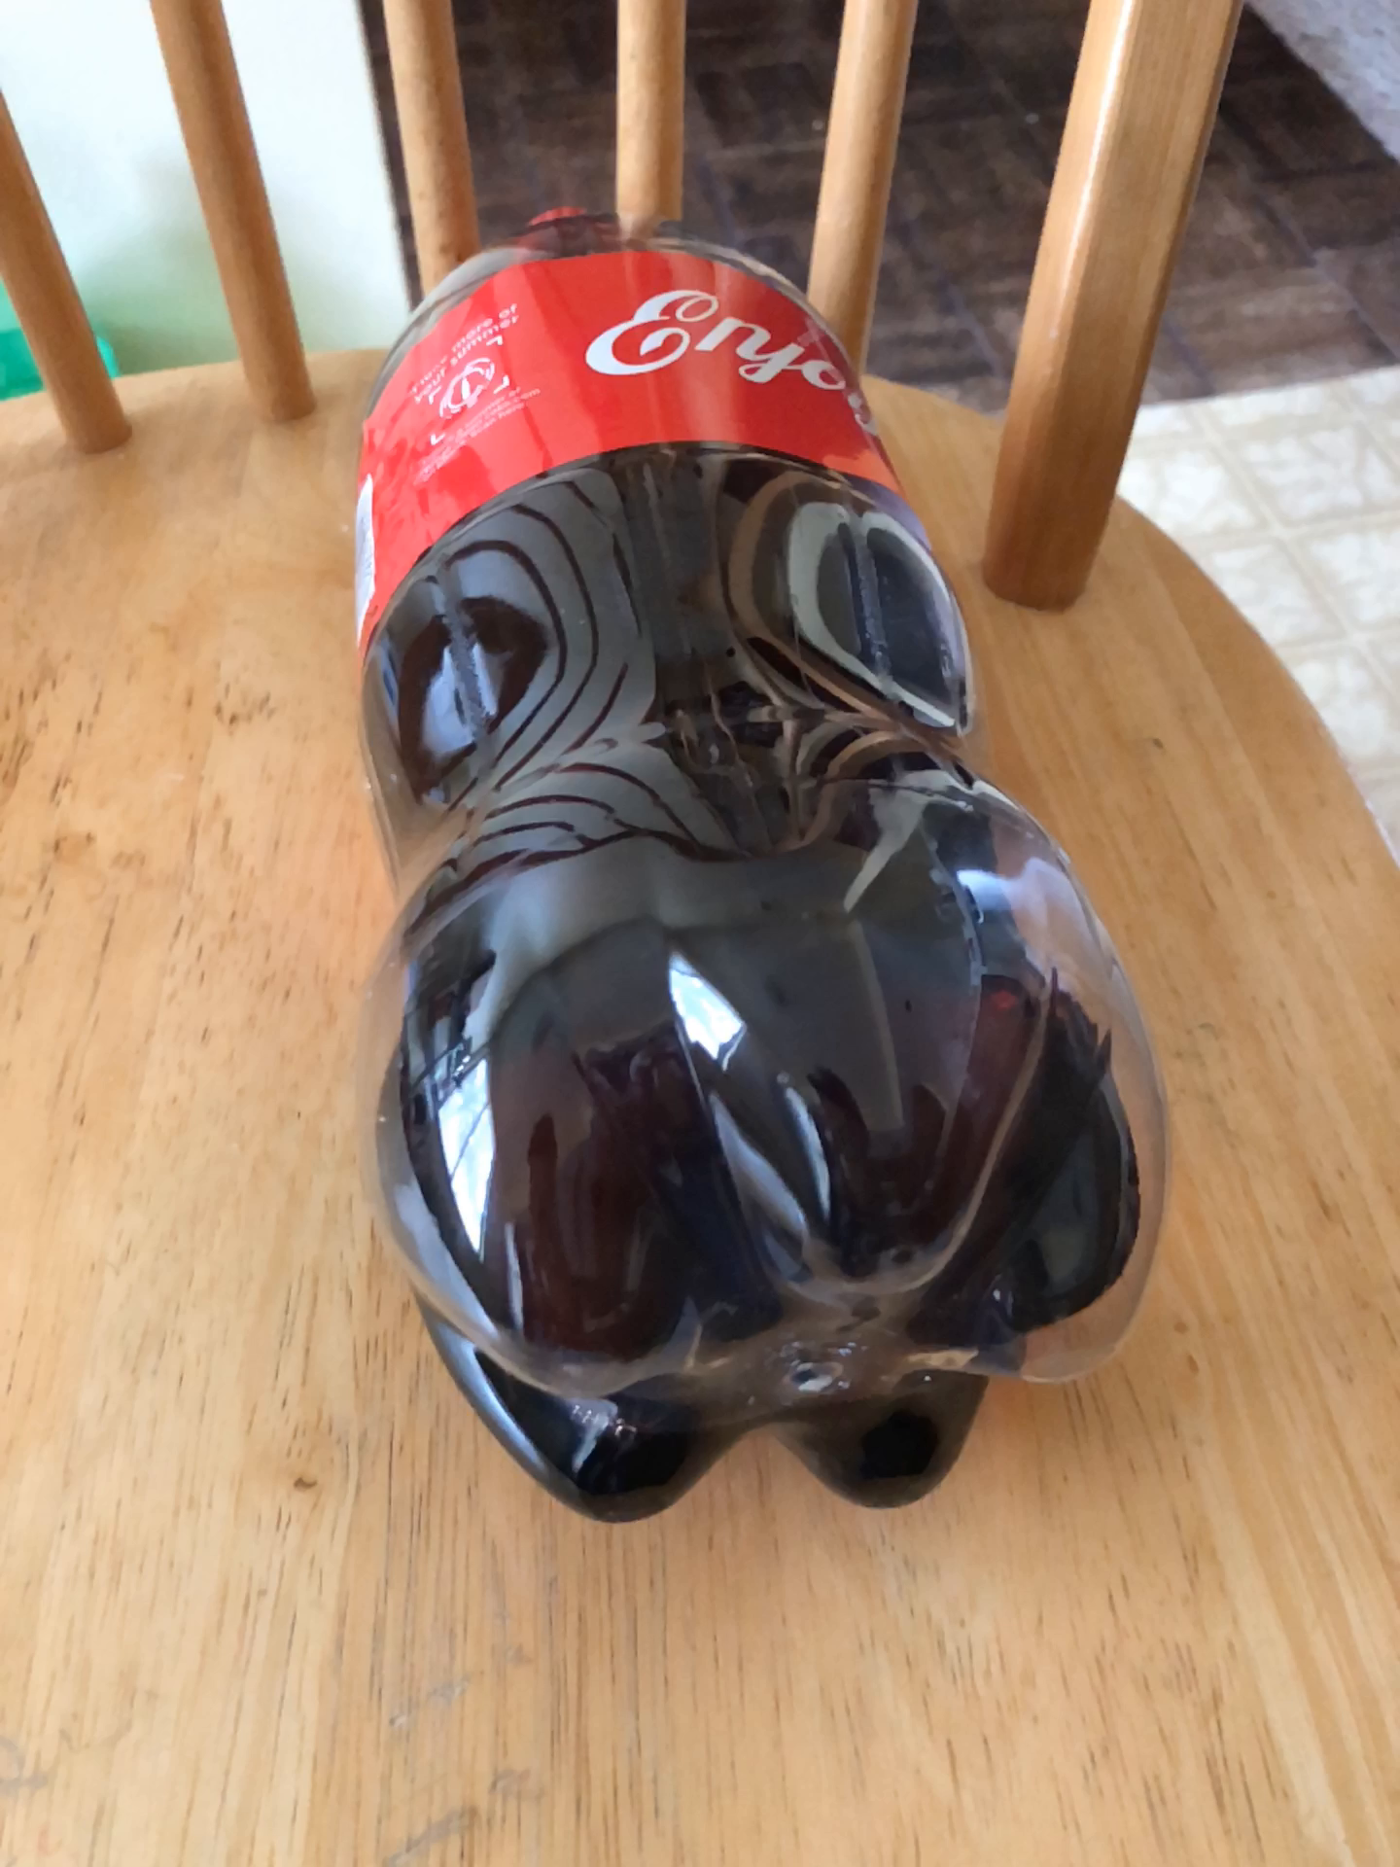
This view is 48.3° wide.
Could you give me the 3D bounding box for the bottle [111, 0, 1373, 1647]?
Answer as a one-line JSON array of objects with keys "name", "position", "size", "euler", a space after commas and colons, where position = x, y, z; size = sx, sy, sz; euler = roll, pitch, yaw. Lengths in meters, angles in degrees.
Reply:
[{"name": "bottle", "position": [-0.010, -0.061, 0.284], "size": [0.100, 0.120, 0.320], "euler": [-31, 47, 23]}]
